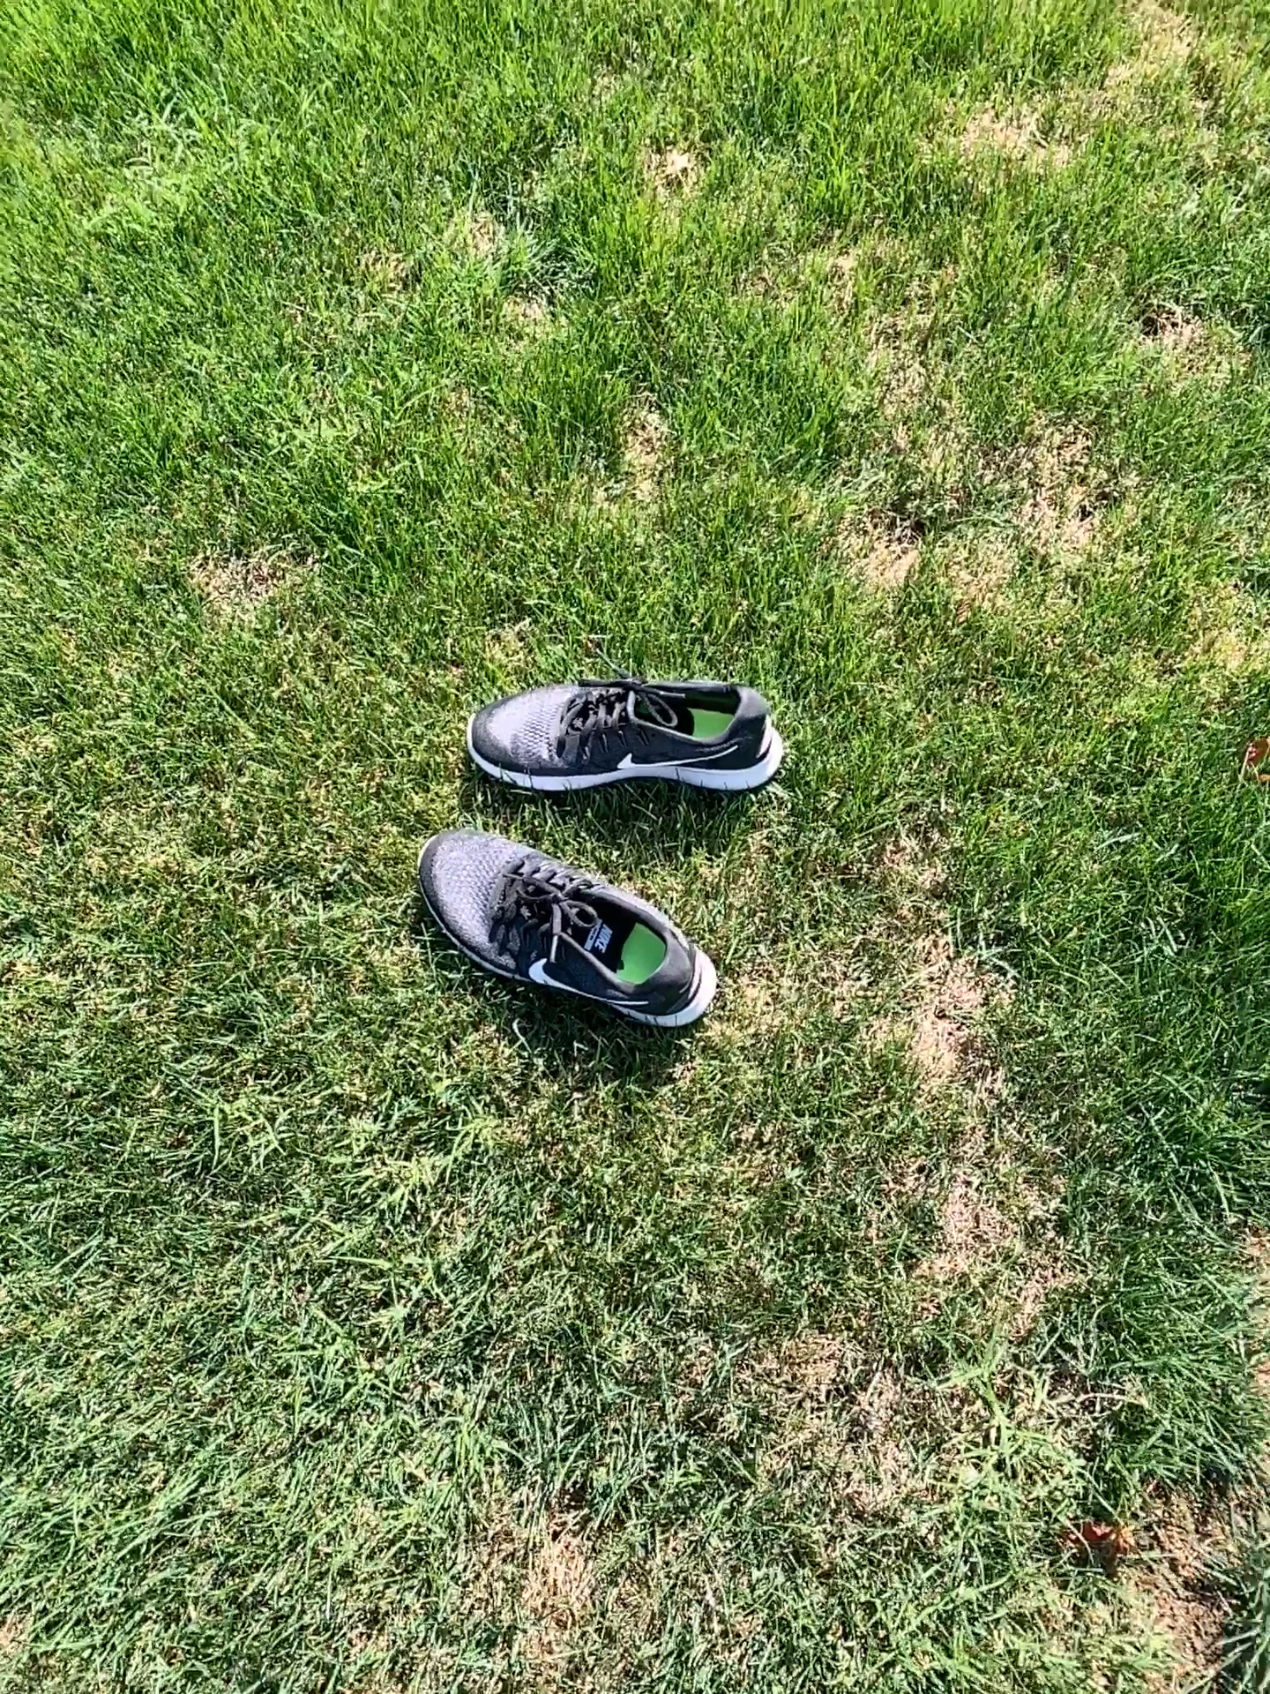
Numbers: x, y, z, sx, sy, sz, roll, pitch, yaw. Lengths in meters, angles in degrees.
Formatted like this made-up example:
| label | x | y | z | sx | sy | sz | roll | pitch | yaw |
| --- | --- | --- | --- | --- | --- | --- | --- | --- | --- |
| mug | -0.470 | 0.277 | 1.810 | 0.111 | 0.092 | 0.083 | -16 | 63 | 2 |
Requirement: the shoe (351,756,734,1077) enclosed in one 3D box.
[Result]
| label | x | y | z | sx | sy | sz | roll | pitch | yaw |
| --- | --- | --- | --- | --- | --- | --- | --- | --- | --- |
| shoe | -0.069 | 0.057 | 1.037 | 0.280 | 0.130 | 0.100 | 29 | 74 | 13 |

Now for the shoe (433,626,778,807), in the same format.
| label | x | y | z | sx | sy | sz | roll | pitch | yaw |
| --- | --- | --- | --- | --- | --- | --- | --- | --- | --- |
| shoe | -0.019 | -0.107 | 1.091 | 0.270 | 0.130 | 0.100 | 1 | 70 | 4 |
